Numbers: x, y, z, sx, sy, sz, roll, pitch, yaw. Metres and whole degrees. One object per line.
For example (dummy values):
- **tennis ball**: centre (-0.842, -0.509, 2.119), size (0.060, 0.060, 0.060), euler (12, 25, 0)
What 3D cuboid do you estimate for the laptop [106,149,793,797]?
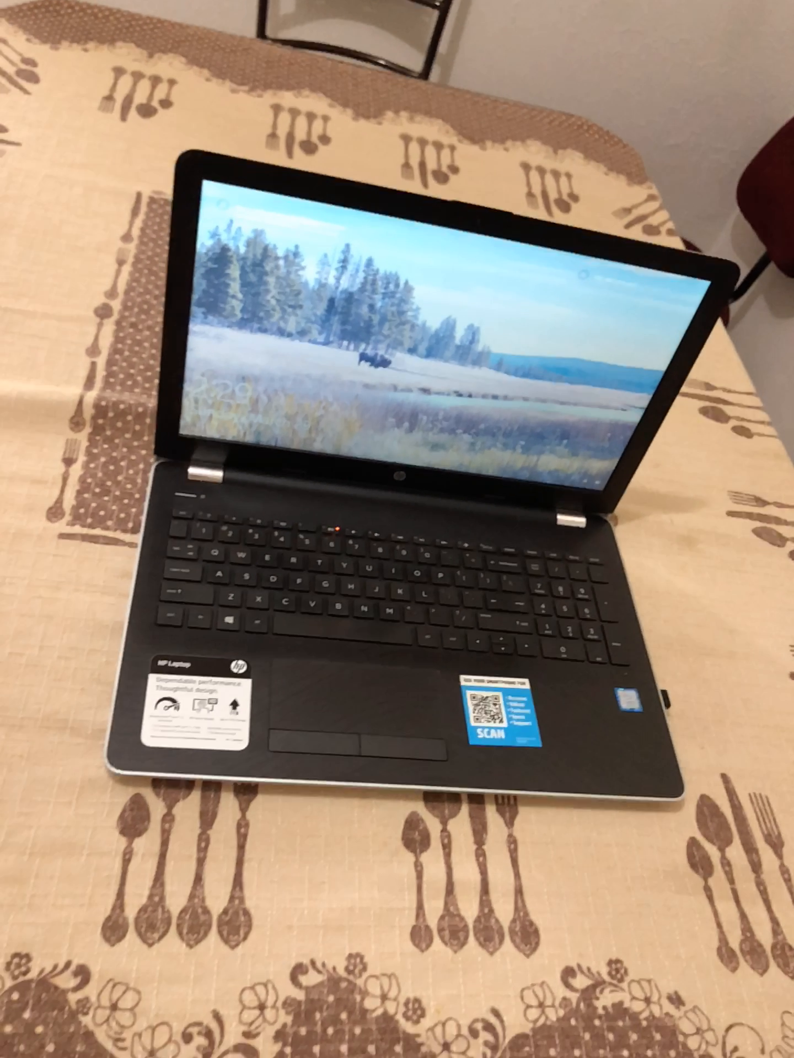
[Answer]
- **laptop**: centre (0.030, -0.021, 0.532), size (0.360, 0.225, 0.269), euler (7, 48, -13)
